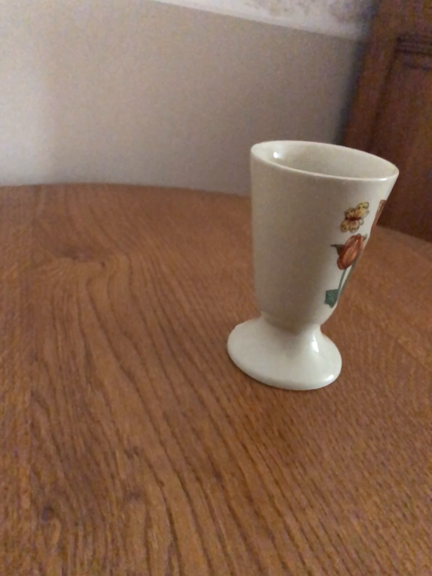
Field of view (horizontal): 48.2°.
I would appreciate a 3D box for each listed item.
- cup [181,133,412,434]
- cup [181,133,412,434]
[{"bbox_3d":[0.041,-0.009,0.254,0.080,0.119,0.081,6,26,-3],"label":"cup"},{"bbox_3d":[0.041,-0.009,0.254,0.080,0.119,0.081,6,26,-3],"label":"cup"}]
